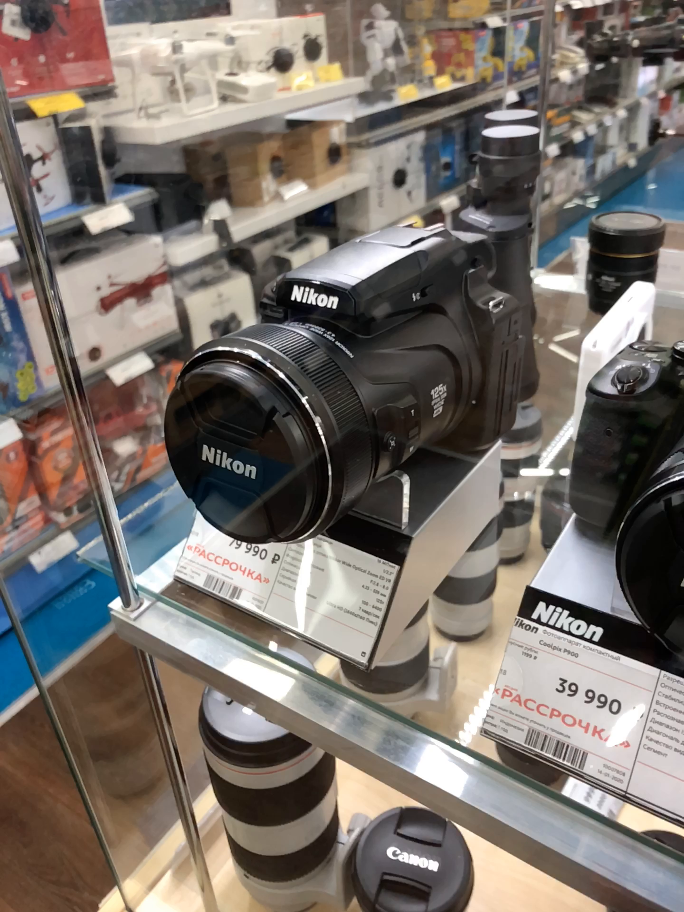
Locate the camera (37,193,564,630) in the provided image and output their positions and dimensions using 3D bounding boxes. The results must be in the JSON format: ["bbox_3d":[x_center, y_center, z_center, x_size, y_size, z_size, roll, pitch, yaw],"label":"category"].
[{"bbox_3d":[-0.007,-0.045,0.388,0.160,0.113,0.201,18,38,31],"label":"camera"}]
